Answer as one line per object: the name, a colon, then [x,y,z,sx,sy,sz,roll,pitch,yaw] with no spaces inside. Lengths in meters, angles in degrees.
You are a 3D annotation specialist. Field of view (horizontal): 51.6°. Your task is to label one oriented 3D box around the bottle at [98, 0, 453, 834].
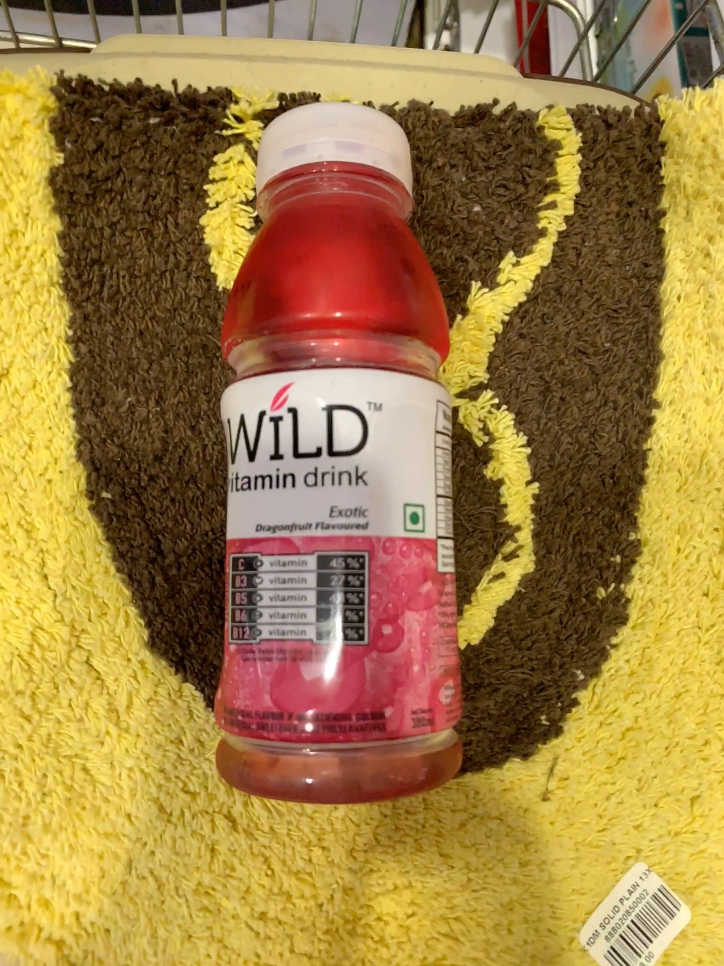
bottle: [-0.016,-0.019,0.172,0.060,0.050,0.170,-3,80,15]
